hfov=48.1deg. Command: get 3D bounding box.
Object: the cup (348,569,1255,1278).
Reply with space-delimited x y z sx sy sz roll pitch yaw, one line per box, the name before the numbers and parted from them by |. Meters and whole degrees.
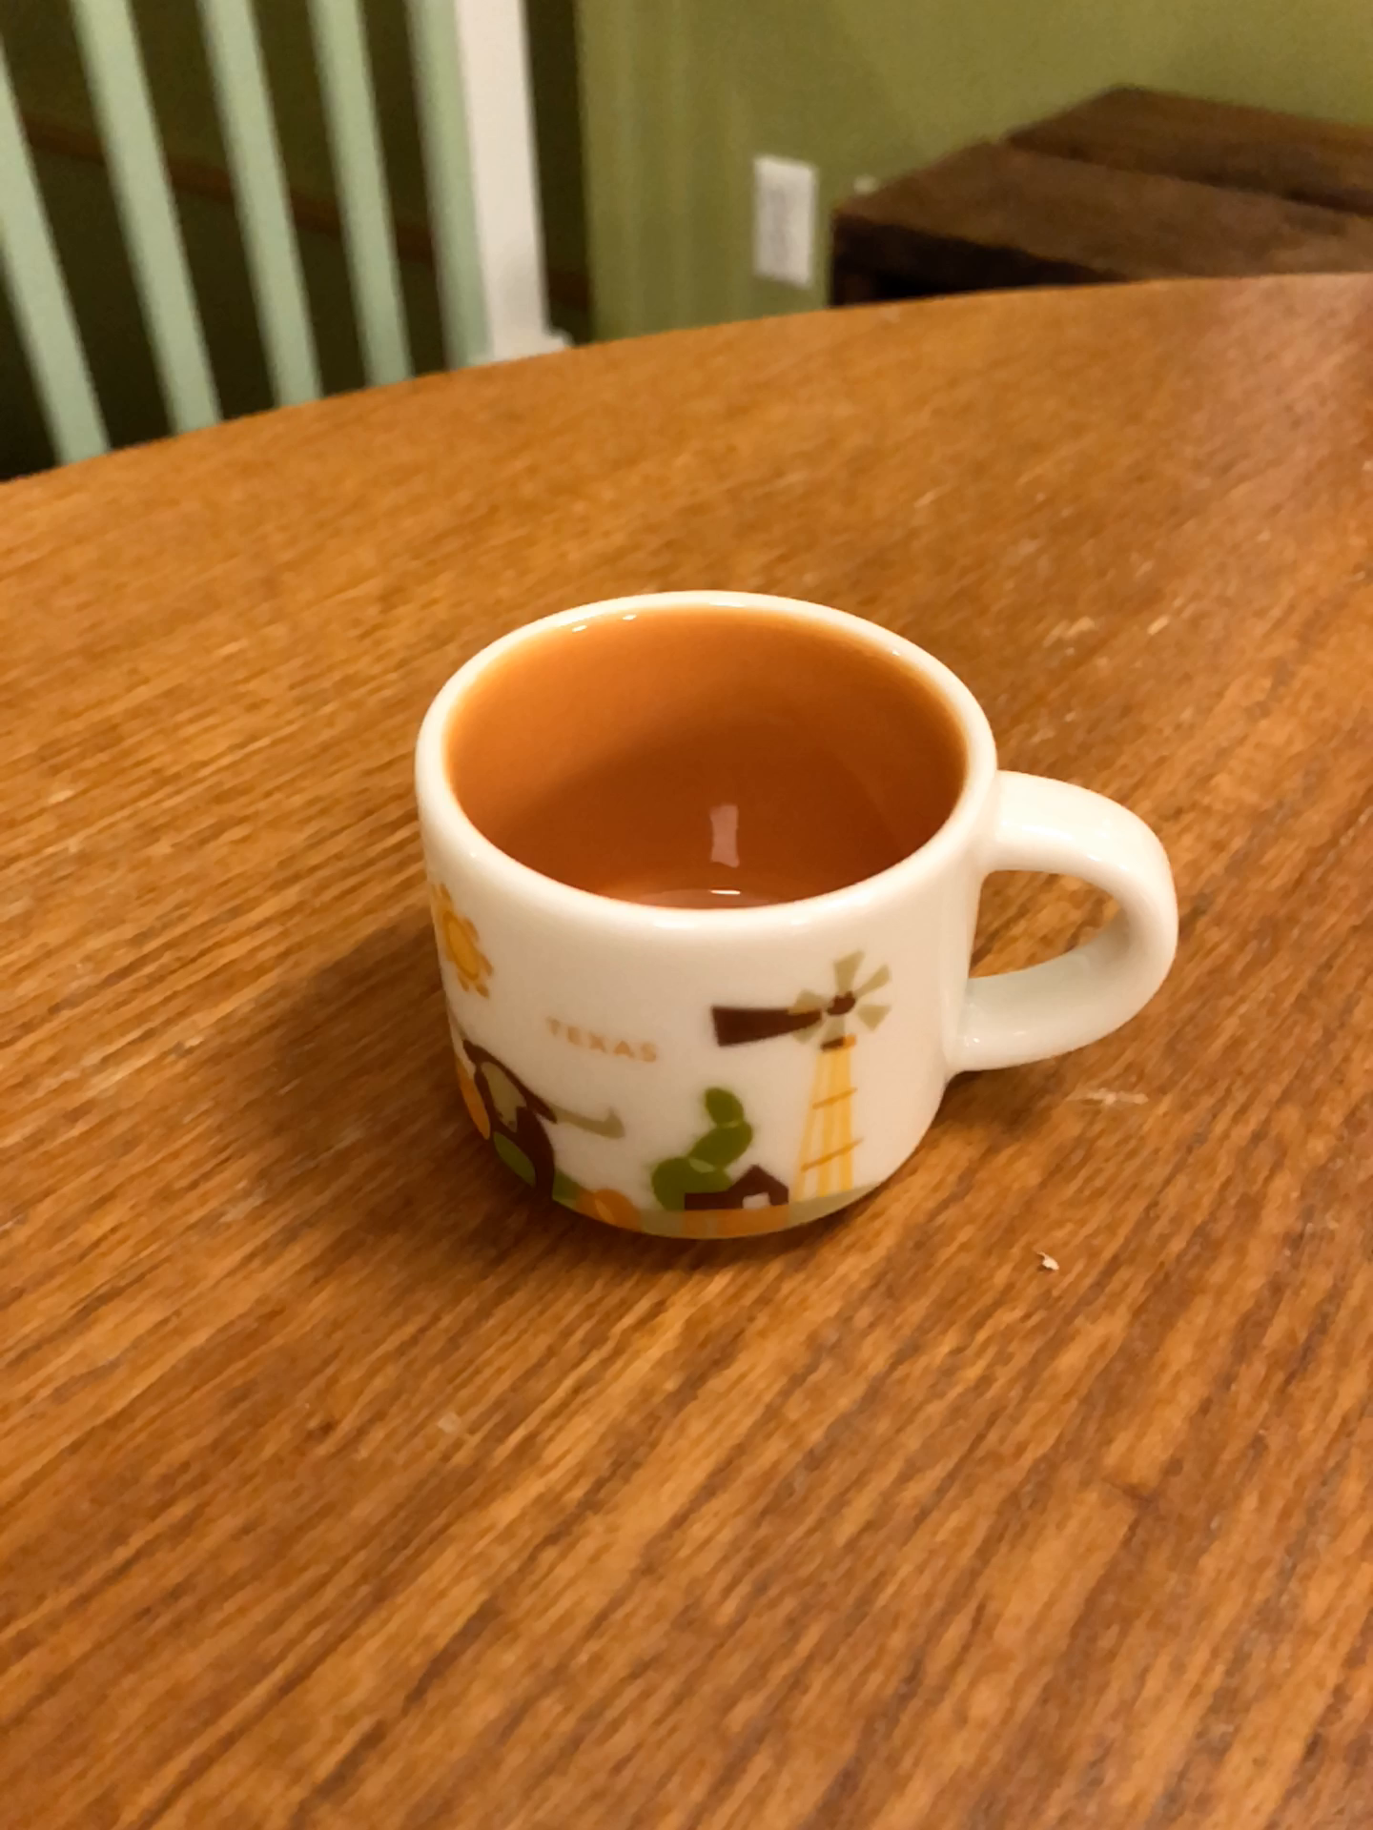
cup | 0.012 -0.001 0.174 0.080 0.049 0.060 3 41 5
